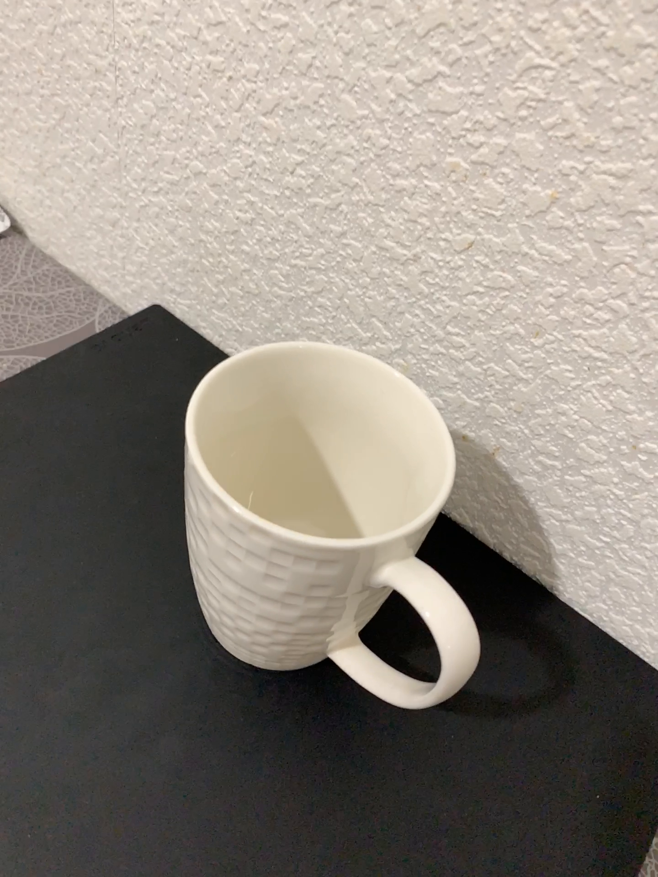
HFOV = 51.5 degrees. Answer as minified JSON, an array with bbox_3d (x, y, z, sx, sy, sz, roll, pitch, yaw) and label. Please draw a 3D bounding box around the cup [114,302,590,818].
[{"bbox_3d":[-0.002,0.040,0.238,0.081,0.105,0.120,-32,62,-33],"label":"cup"}]
